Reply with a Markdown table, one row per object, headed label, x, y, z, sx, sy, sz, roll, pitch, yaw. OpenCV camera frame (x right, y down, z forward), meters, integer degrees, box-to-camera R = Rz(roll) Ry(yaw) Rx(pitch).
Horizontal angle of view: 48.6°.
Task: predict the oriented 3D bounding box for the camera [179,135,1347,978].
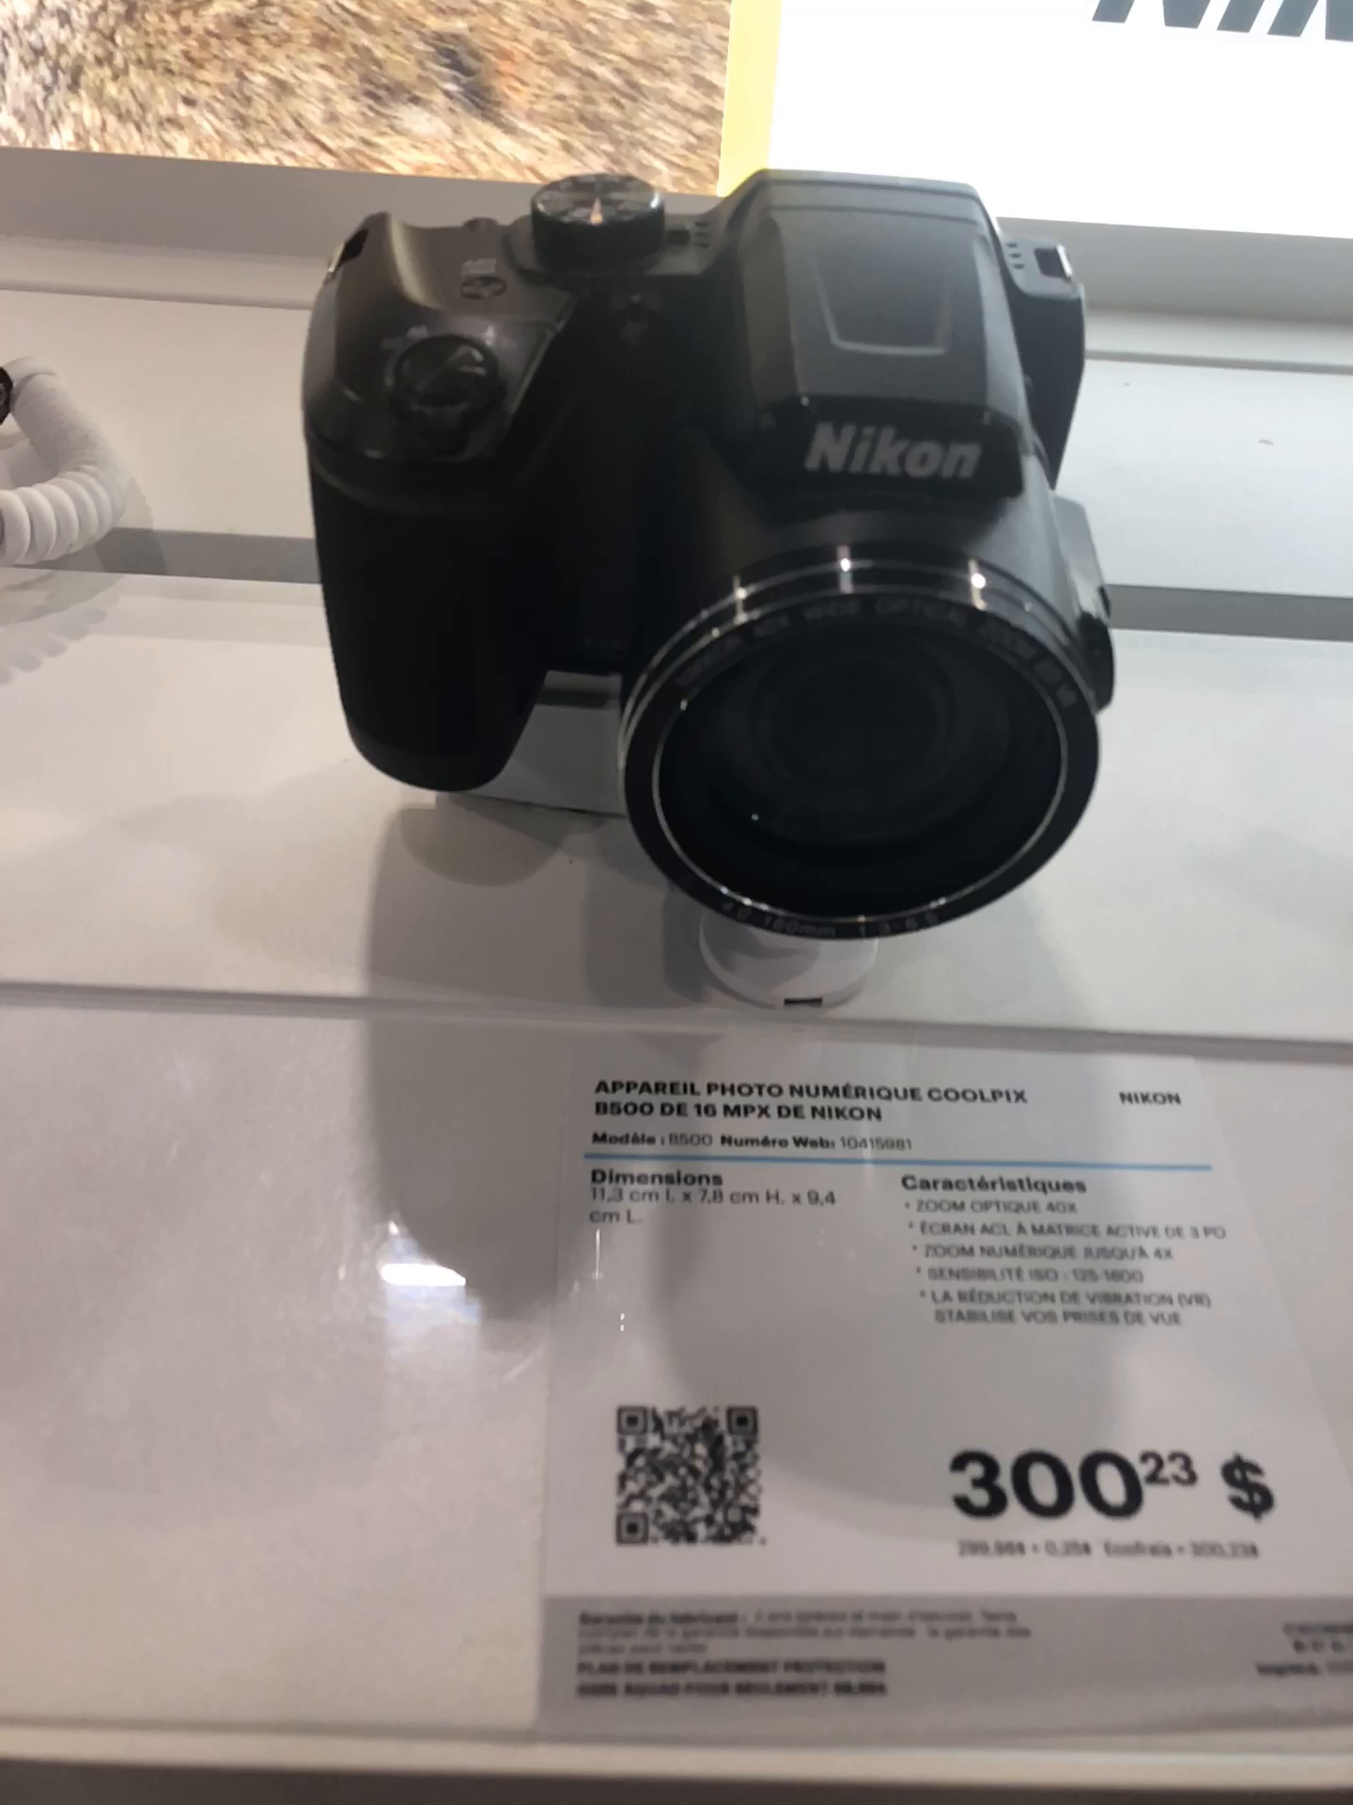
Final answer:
| label | x | y | z | sx | sy | sz | roll | pitch | yaw |
| --- | --- | --- | --- | --- | --- | --- | --- | --- | --- |
| camera | 0.007 | -0.047 | 0.196 | 0.111 | 0.069 | 0.085 | 3 | 42 | -2 |
